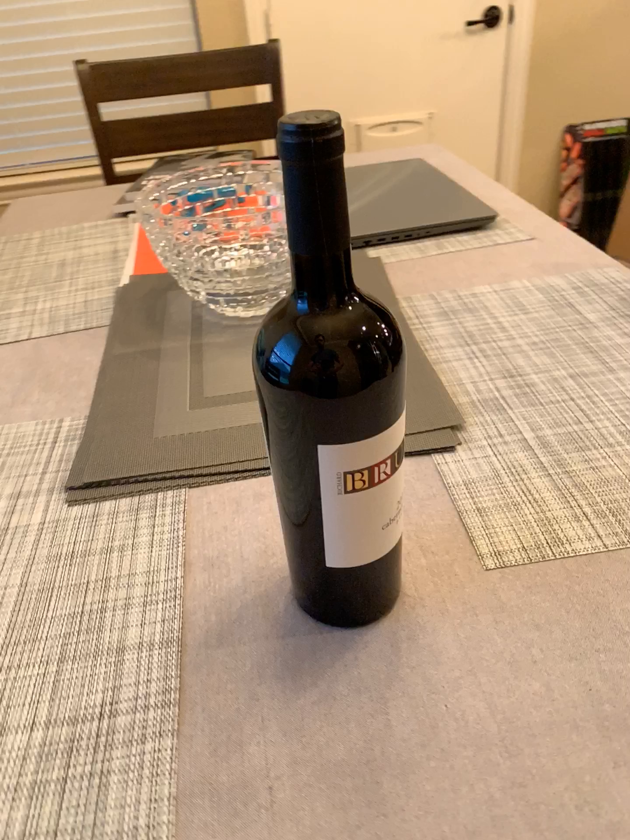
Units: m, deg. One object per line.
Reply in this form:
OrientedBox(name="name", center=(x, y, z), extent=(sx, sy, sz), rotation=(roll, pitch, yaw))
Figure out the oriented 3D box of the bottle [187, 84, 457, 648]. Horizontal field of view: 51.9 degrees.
OrientedBox(name="bottle", center=(0.018, -0.013, 0.360), extent=(0.090, 0.298, 0.084), rotation=(-4, 35, 3))
